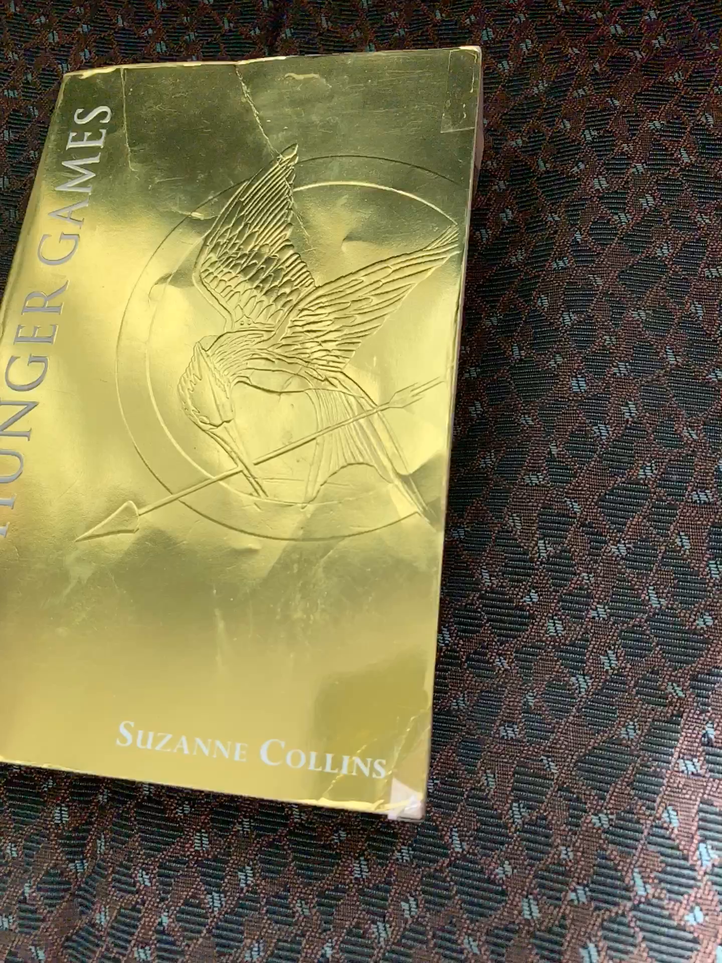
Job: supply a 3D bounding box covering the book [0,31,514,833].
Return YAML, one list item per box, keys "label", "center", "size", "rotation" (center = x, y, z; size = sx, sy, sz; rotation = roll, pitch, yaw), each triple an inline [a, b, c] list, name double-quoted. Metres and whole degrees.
- label: "book"
  center: [-0.036, -0.026, 0.205]
  size: [0.142, 0.037, 0.201]
  rotation: [3, 73, 10]
